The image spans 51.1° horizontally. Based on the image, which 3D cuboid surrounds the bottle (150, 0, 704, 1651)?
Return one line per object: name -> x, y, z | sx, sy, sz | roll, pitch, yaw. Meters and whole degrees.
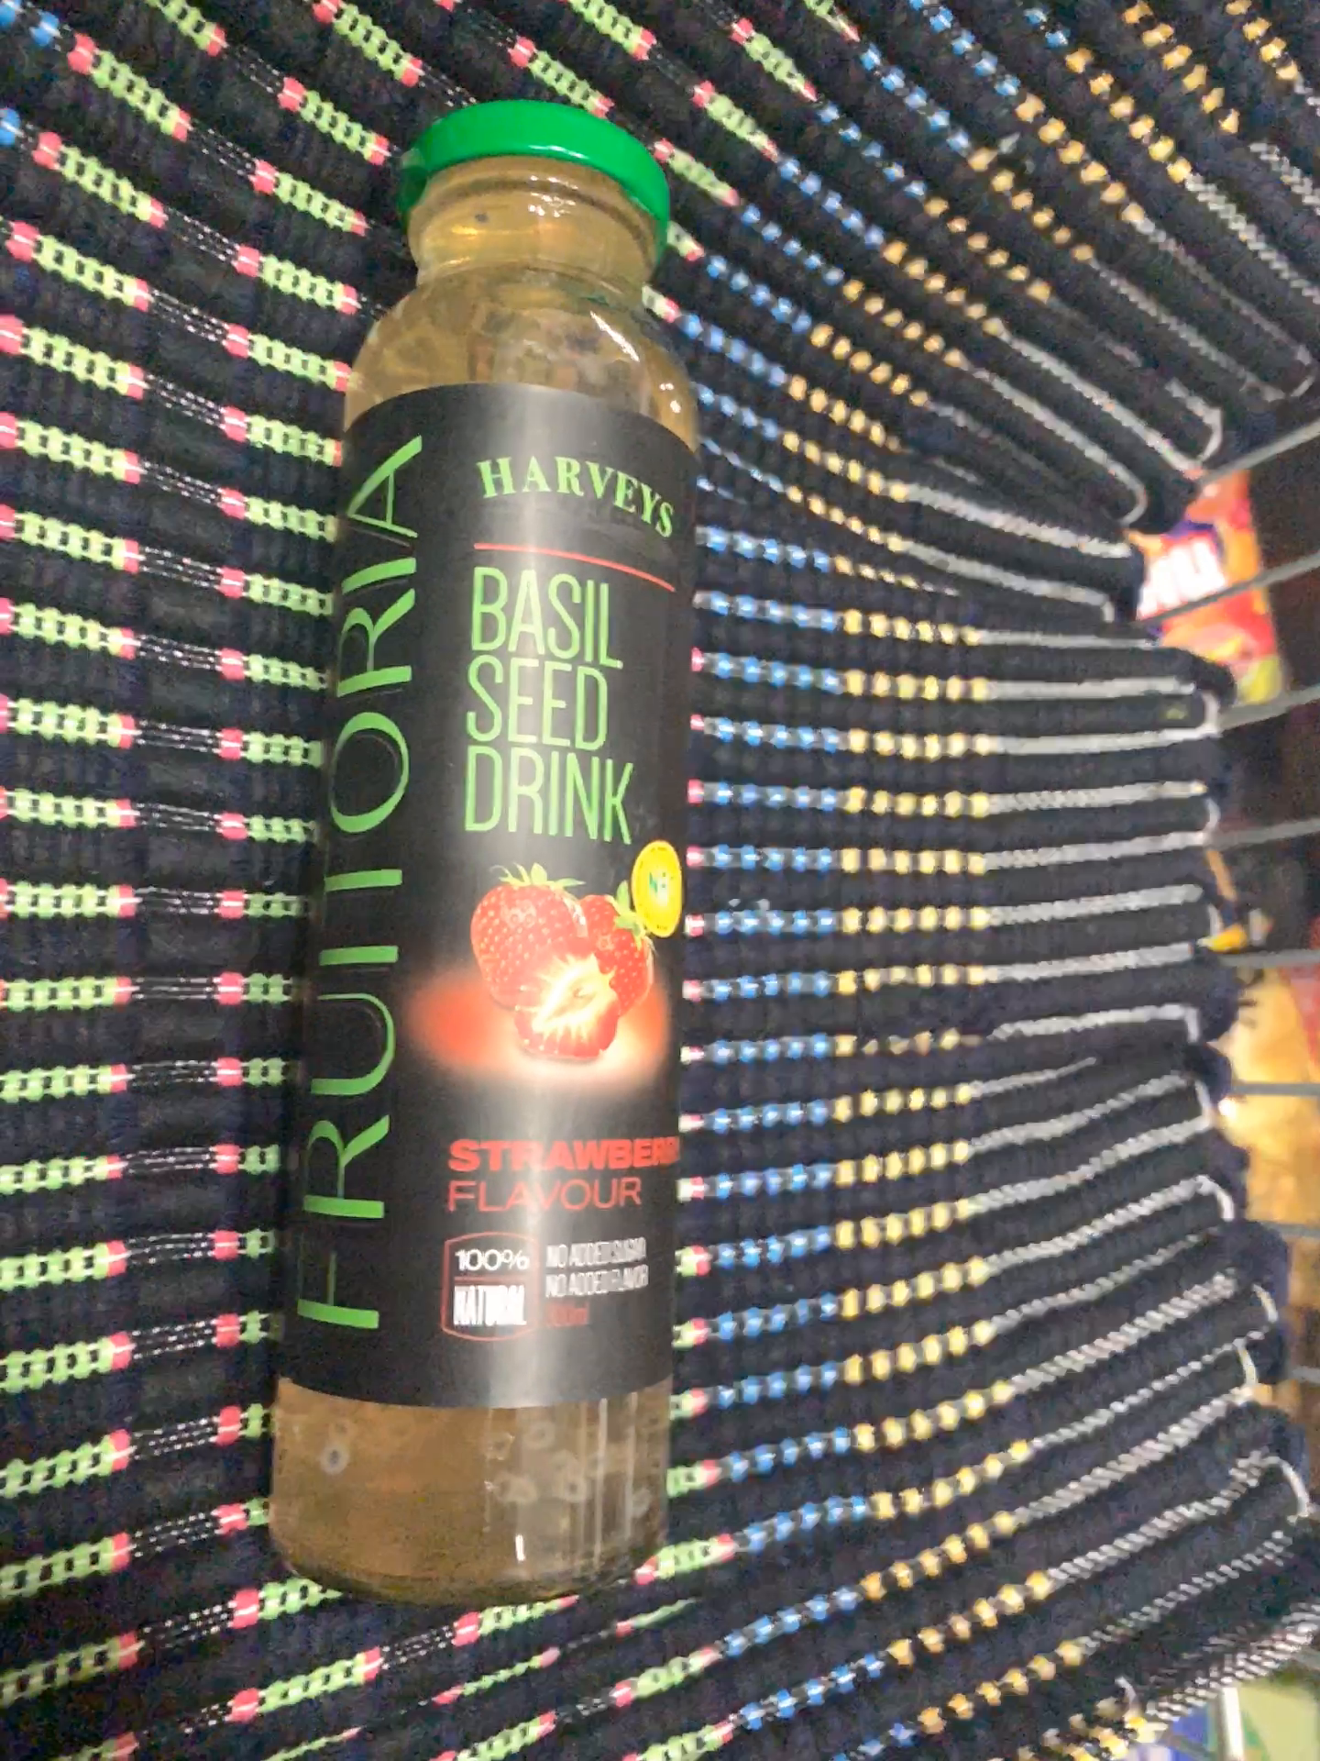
bottle -> -0.029, -0.020, 0.201 | 0.060, 0.060, 0.220 | 2, 80, -9
